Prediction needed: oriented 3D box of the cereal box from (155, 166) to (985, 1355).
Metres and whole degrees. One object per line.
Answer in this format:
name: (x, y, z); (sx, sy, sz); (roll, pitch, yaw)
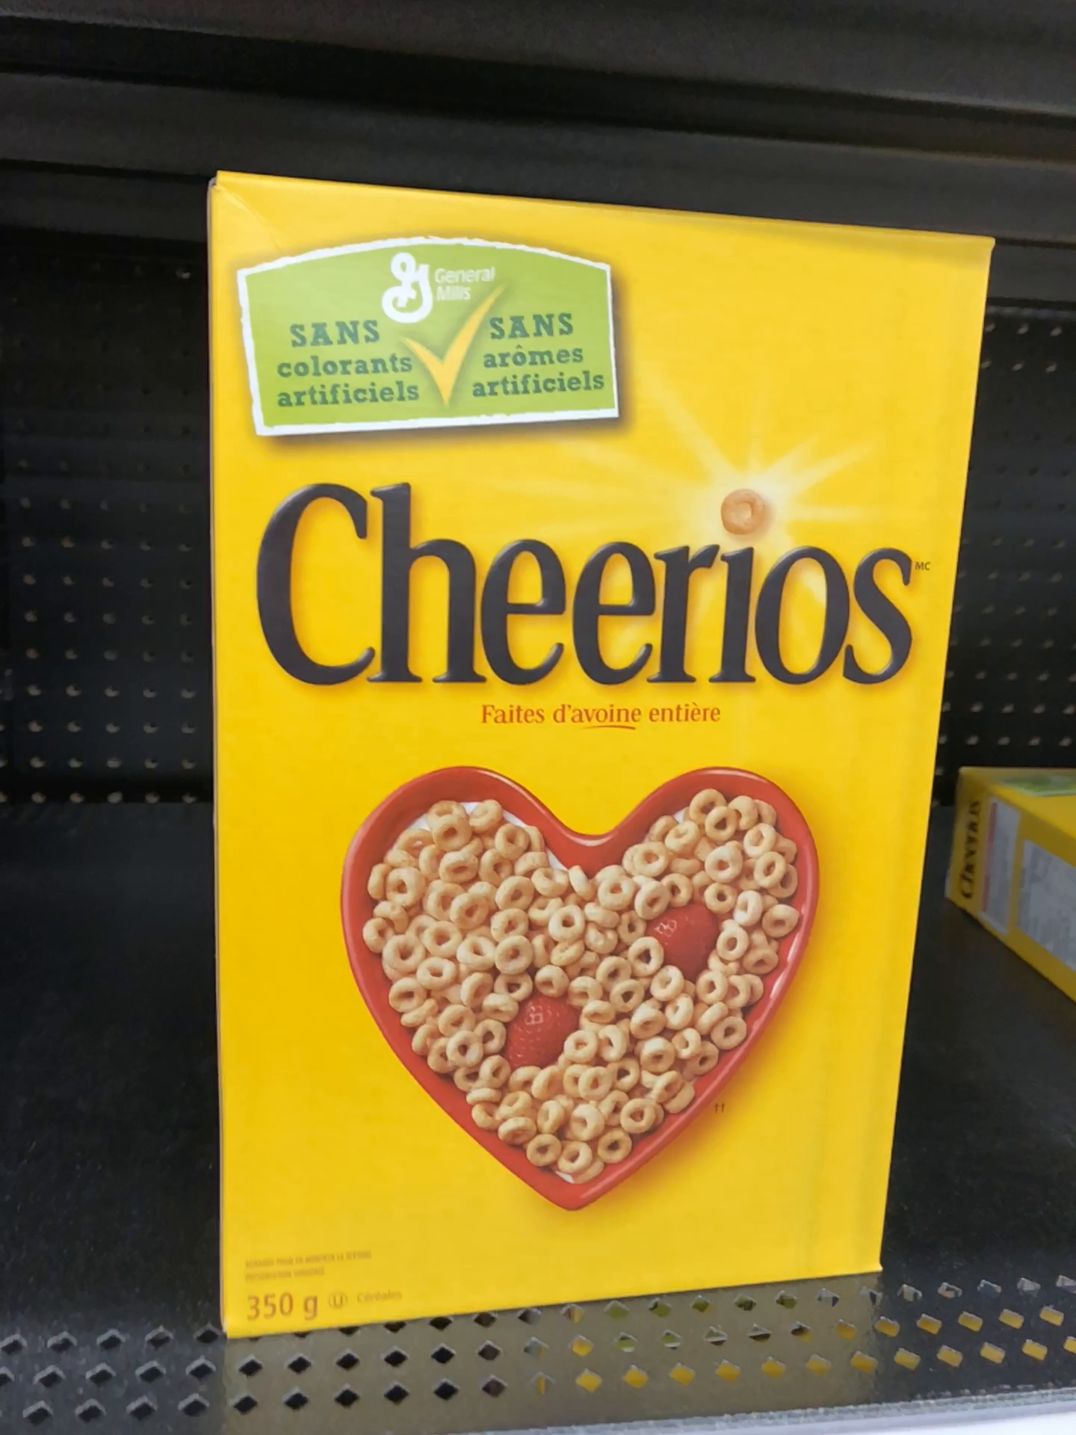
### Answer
cereal box: (0.001, 0.017, 0.362); (0.210, 0.309, 0.080); (0, 12, -12)
